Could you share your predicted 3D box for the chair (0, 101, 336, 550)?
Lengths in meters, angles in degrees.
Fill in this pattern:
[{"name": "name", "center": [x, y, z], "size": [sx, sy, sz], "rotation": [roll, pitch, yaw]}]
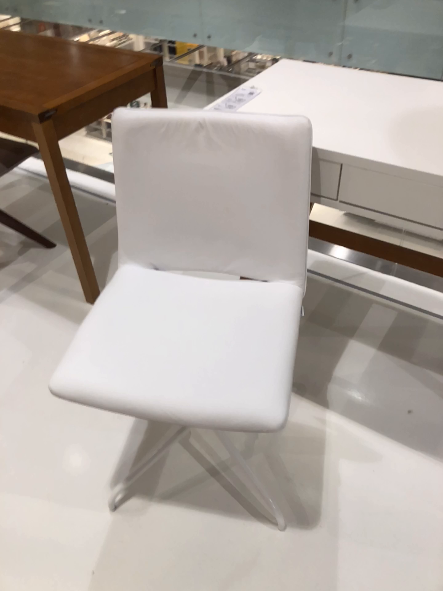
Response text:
[{"name": "chair", "center": [-0.055, 0.090, 1.091], "size": [0.510, 0.844, 0.504], "rotation": [6, 42, 11]}]
